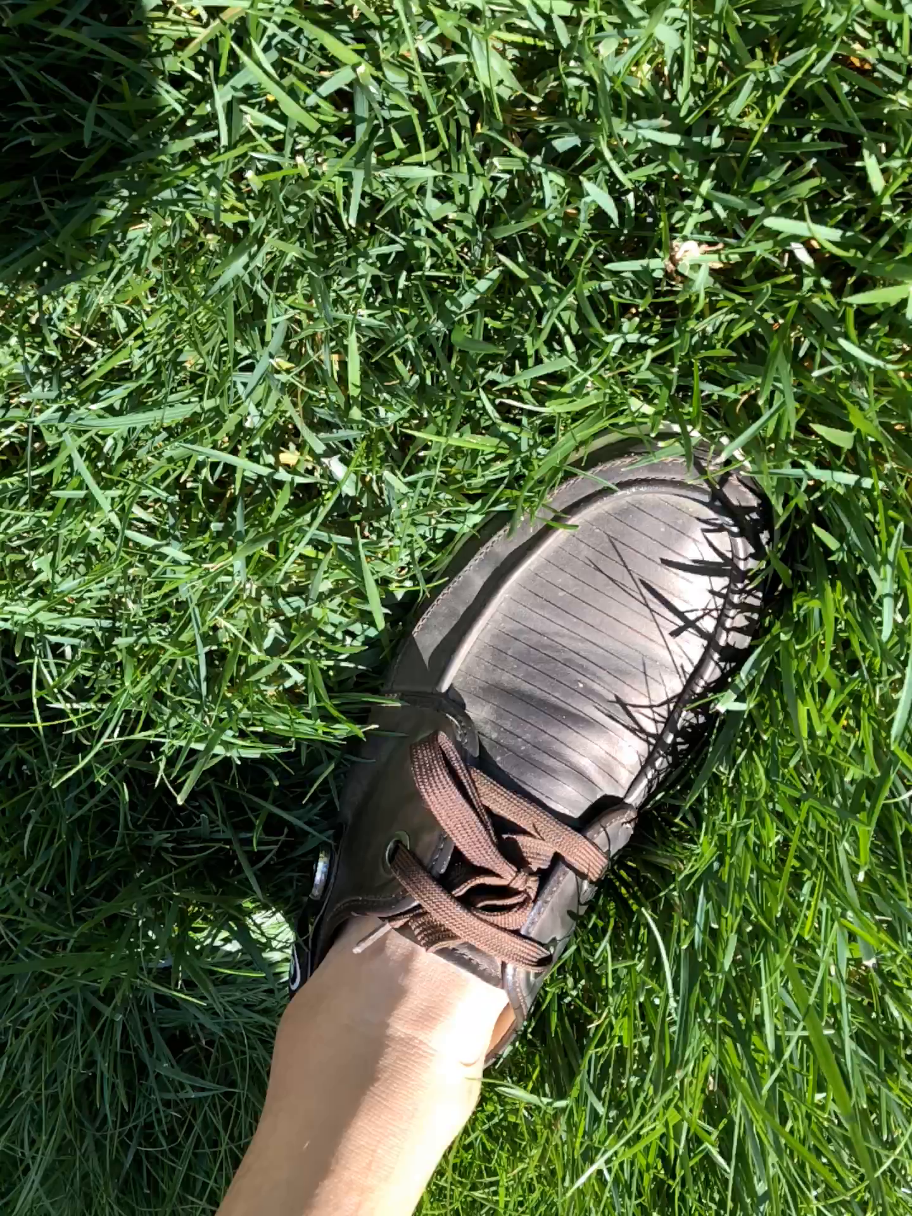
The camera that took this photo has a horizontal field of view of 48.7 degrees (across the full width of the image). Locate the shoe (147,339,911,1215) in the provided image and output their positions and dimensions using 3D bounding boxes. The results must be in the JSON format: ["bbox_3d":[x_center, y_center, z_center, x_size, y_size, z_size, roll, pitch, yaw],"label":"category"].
[{"bbox_3d":[0.013,0.072,0.329,0.112,0.093,0.281,28,114,-2],"label":"shoe"}]
